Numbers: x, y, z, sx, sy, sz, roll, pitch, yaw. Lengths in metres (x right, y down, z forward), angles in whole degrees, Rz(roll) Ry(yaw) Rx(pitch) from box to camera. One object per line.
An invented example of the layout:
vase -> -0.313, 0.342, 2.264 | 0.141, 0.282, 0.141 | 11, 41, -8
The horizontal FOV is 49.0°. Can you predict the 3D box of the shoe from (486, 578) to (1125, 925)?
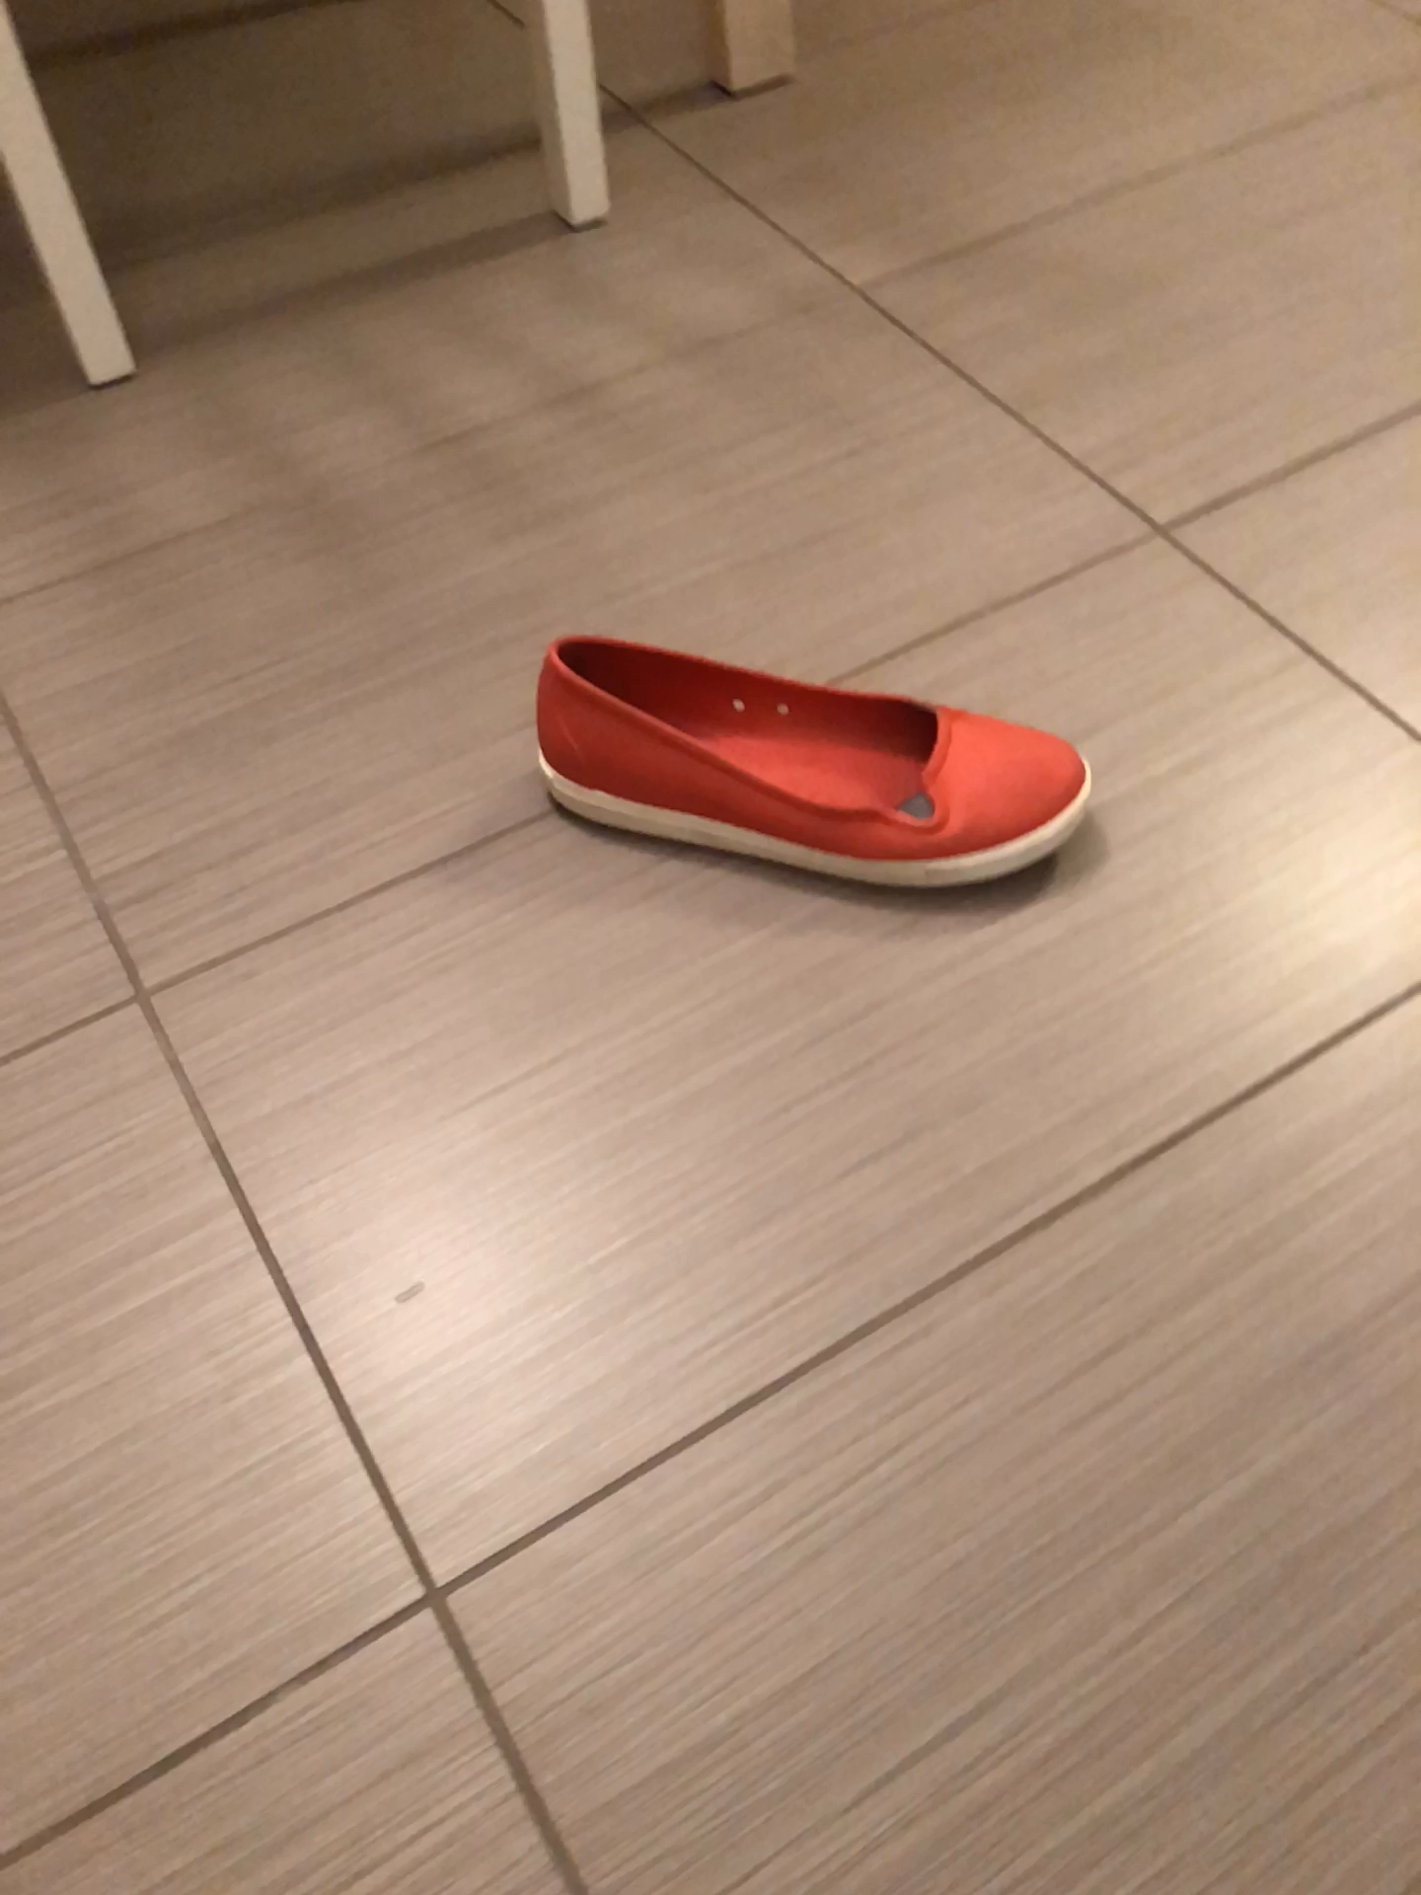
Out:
shoe -> 0.045, -0.094, 0.724 | 0.270, 0.070, 0.101 | 10, 54, 10
